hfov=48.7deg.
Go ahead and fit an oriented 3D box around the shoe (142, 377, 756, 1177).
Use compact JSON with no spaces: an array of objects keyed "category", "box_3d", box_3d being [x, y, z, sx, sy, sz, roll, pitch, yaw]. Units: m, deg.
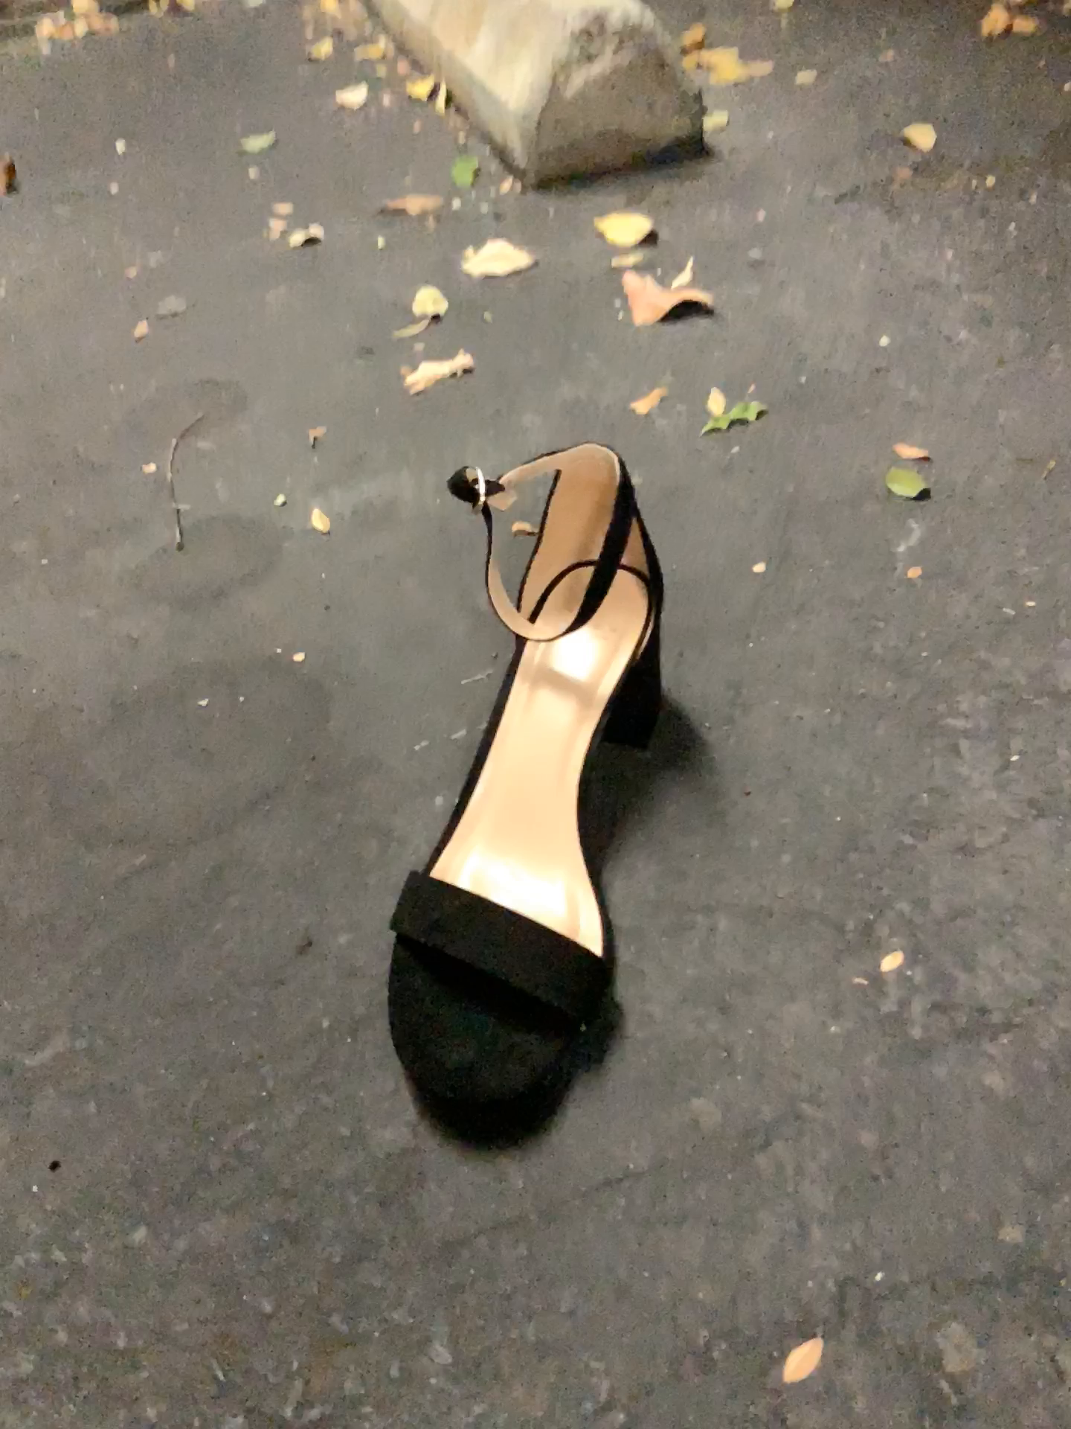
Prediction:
[{"category":"shoe","box_3d":[-0.008,0.004,0.458,0.120,0.140,0.270,12,45,15]}]
